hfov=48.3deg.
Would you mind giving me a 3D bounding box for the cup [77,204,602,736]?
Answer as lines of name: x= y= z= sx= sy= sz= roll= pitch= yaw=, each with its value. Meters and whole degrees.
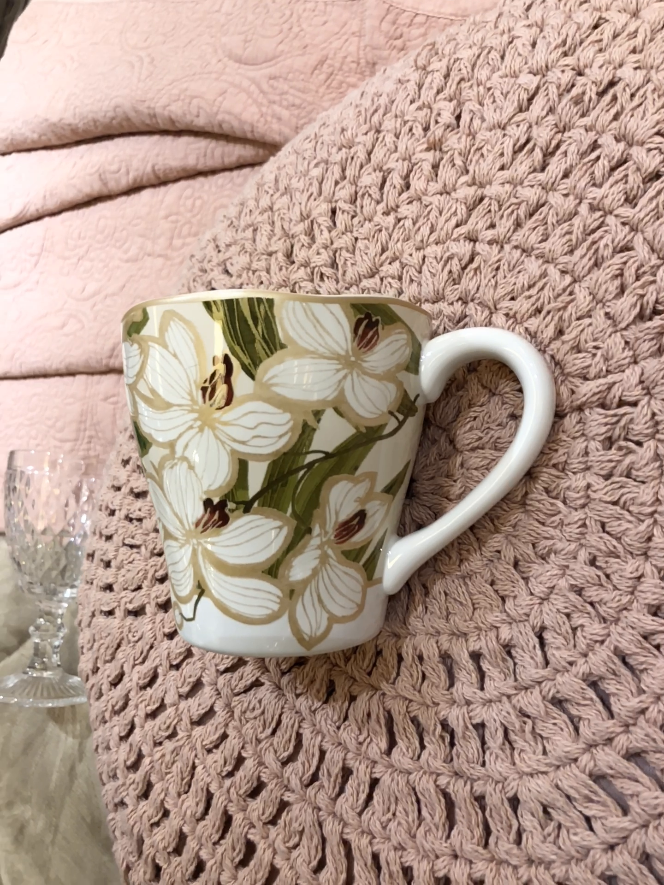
cup: x=0.005 y=0.007 z=0.239 sx=0.140 sy=0.090 sz=0.120 roll=-2 pitch=90 yaw=27
